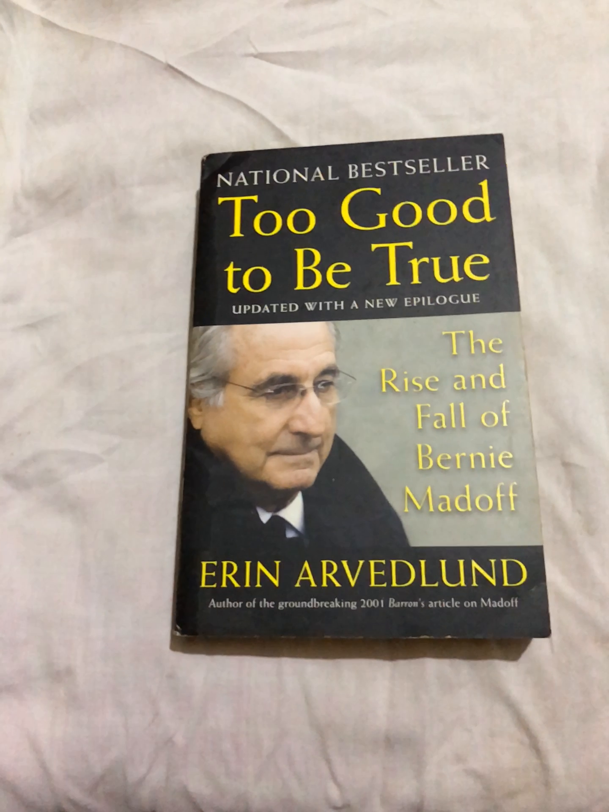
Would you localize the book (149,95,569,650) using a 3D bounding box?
[{"bbox_3d":[0.019,-0.019,0.291,0.150,0.030,0.230,-2,73,8],"label":"book"}]
